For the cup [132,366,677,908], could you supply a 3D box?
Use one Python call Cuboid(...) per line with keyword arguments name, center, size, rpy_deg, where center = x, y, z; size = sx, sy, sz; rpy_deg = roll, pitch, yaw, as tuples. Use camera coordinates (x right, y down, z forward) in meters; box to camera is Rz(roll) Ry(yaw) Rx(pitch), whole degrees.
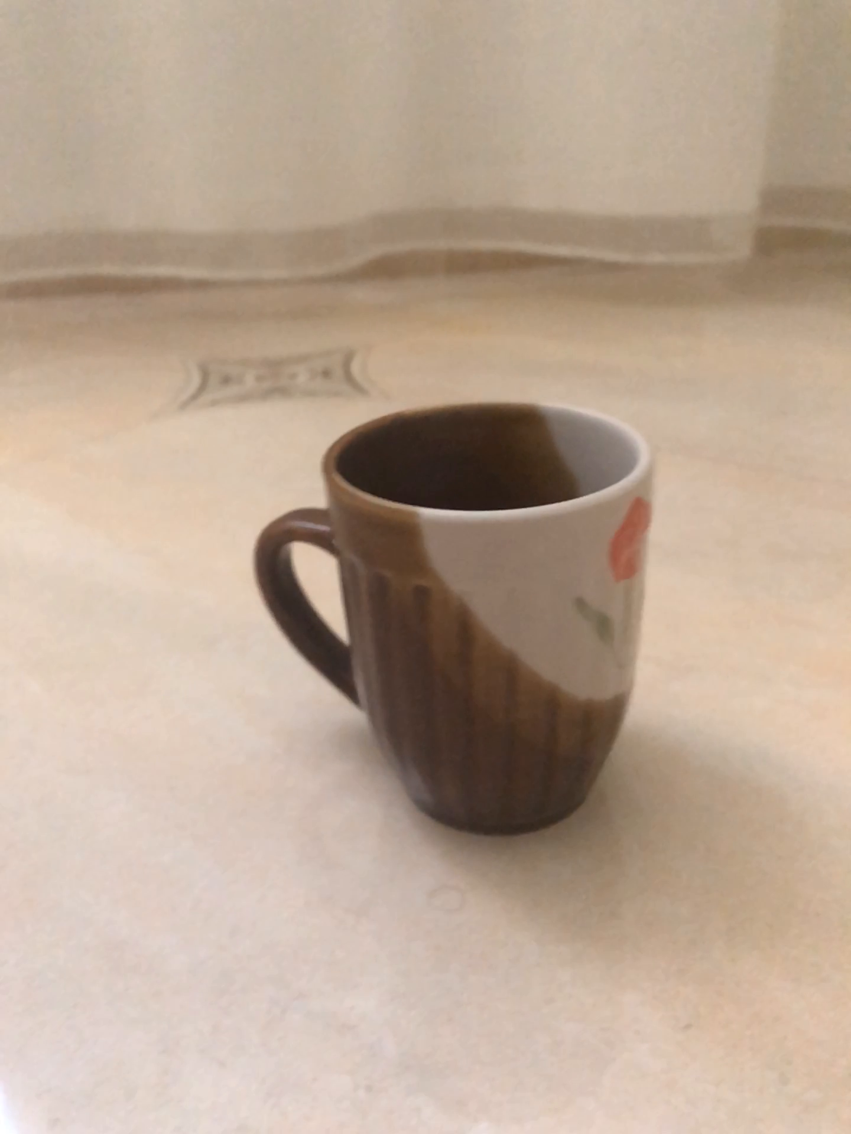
Cuboid(name="cup", center=(-0.004, 0.007, 0.242), size=(0.104, 0.086, 0.076), rpy_deg=(18, 33, 36))
